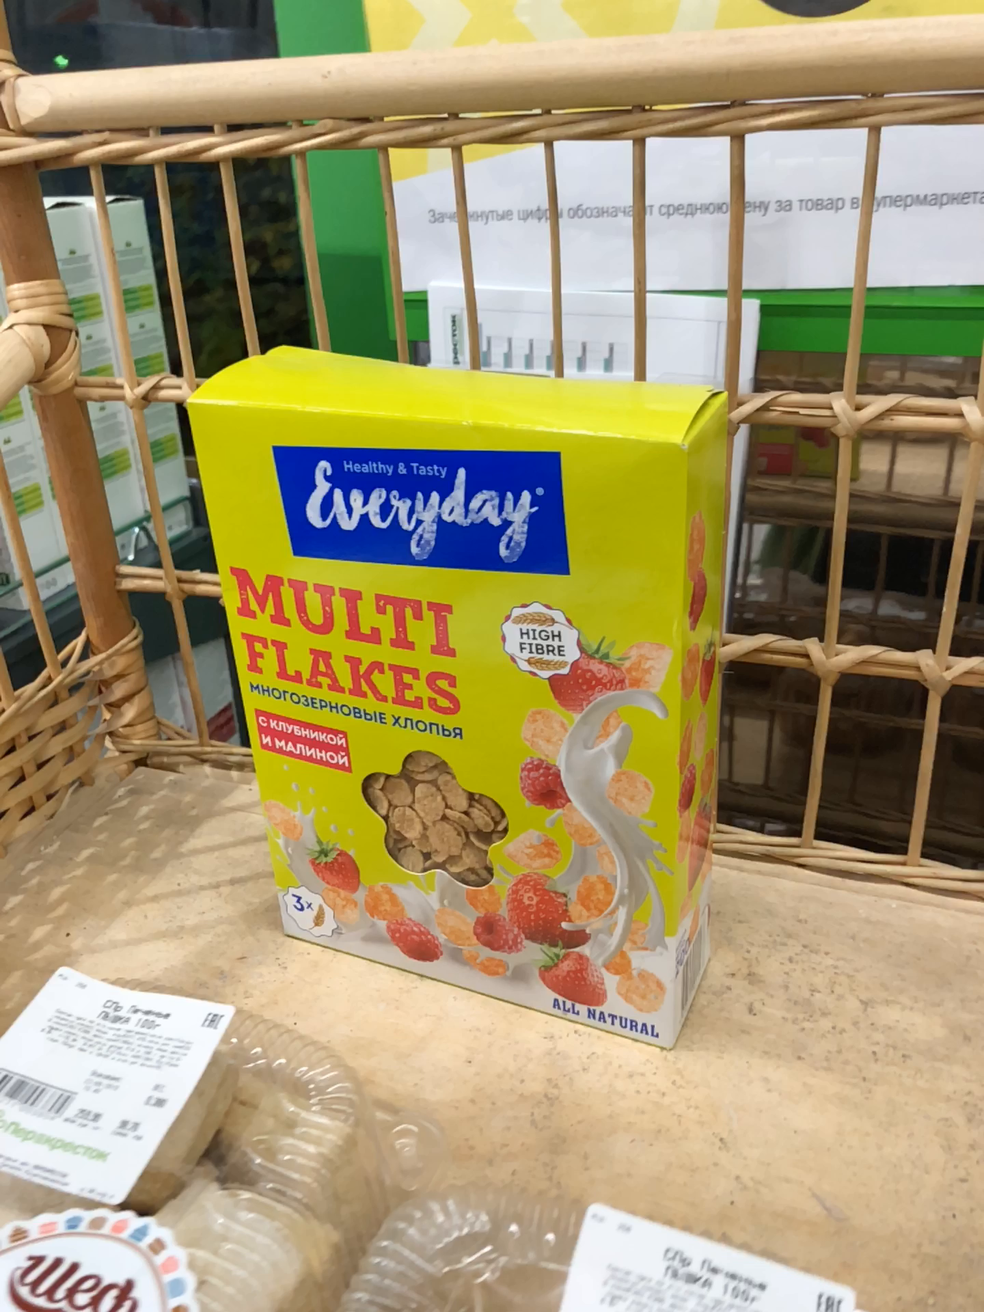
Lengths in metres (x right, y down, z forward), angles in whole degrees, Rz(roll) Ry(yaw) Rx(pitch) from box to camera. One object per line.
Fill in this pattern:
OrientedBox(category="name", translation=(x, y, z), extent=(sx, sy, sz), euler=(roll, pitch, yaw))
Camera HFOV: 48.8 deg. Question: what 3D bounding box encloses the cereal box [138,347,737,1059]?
OrientedBox(category="cereal box", translation=(-0.013, 0.015, 0.392), extent=(0.180, 0.229, 0.060), euler=(10, 31, 24))
